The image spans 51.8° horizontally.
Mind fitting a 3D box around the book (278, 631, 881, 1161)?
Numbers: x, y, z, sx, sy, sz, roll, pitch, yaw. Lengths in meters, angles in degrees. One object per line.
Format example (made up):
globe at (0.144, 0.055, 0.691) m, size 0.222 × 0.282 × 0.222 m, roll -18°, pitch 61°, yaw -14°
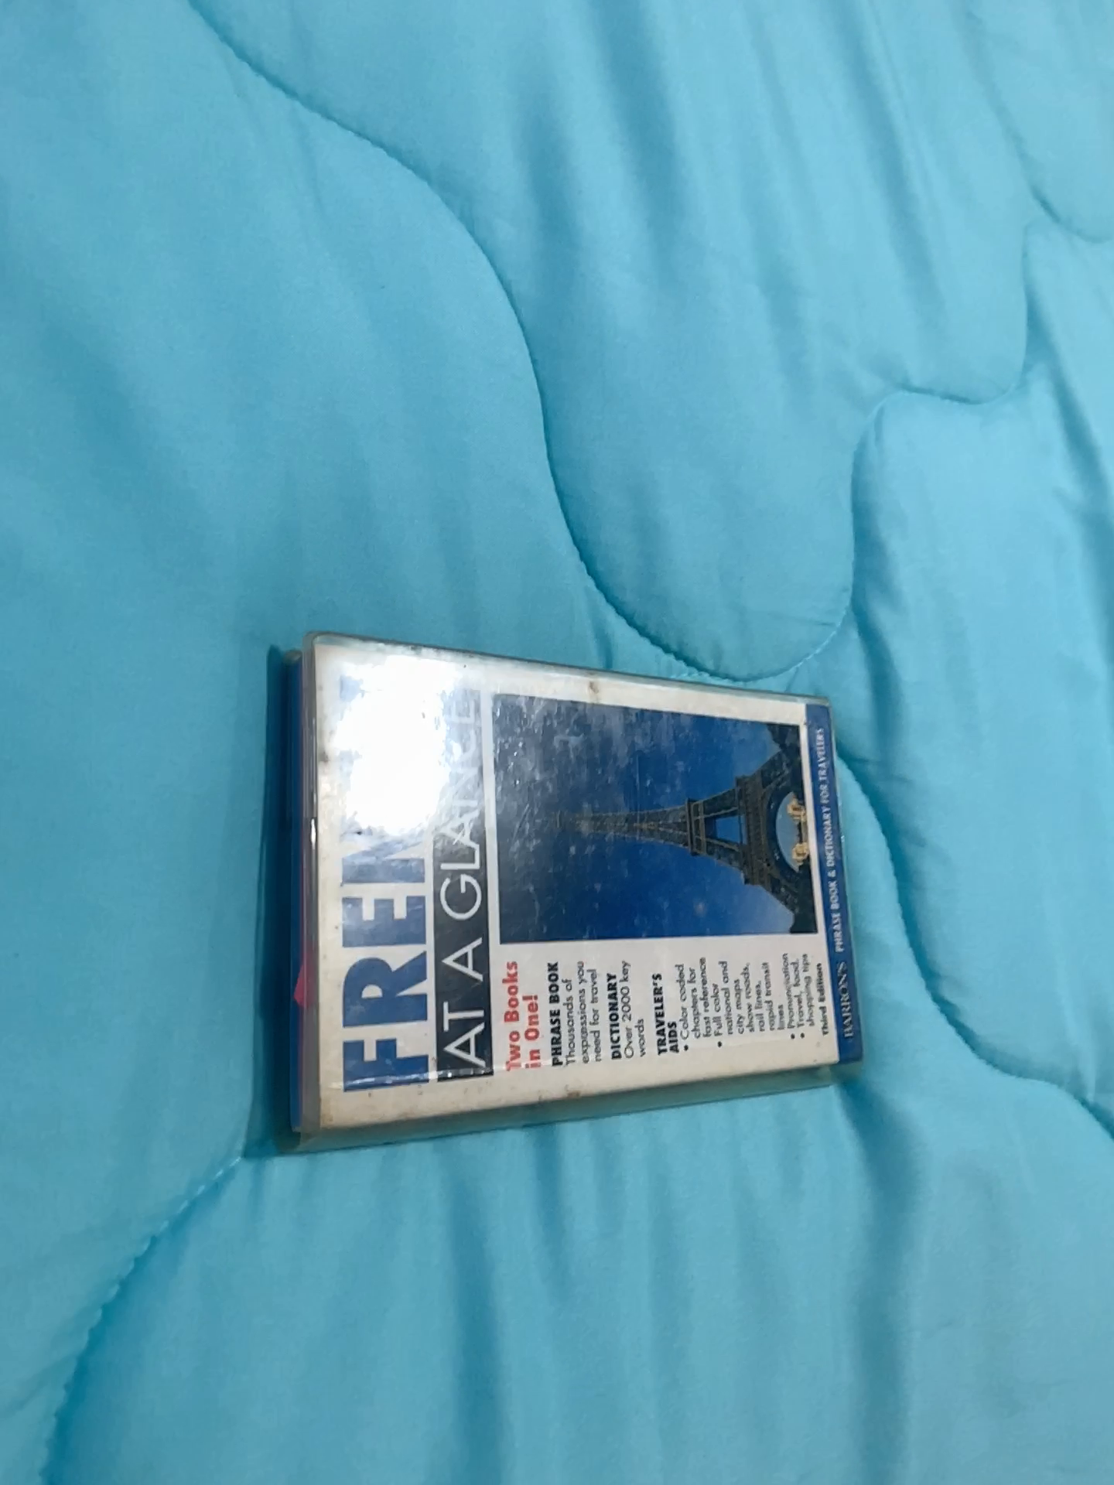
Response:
book at (0.013, 0.032, 0.267) m, size 0.154 × 0.017 × 0.099 m, roll 4°, pitch 78°, yaw -35°
